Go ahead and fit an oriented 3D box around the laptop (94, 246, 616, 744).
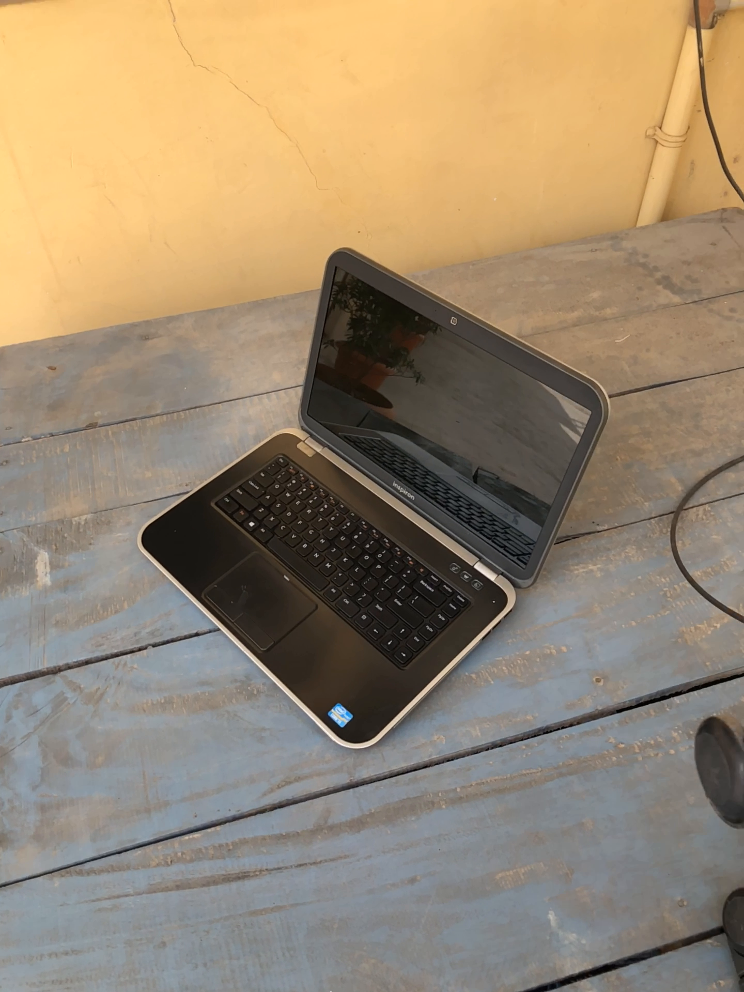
[{"bbox_3d":[-0.018,-0.026,0.829,0.333,0.209,0.353,-38,56,-25],"label":"laptop"}]
